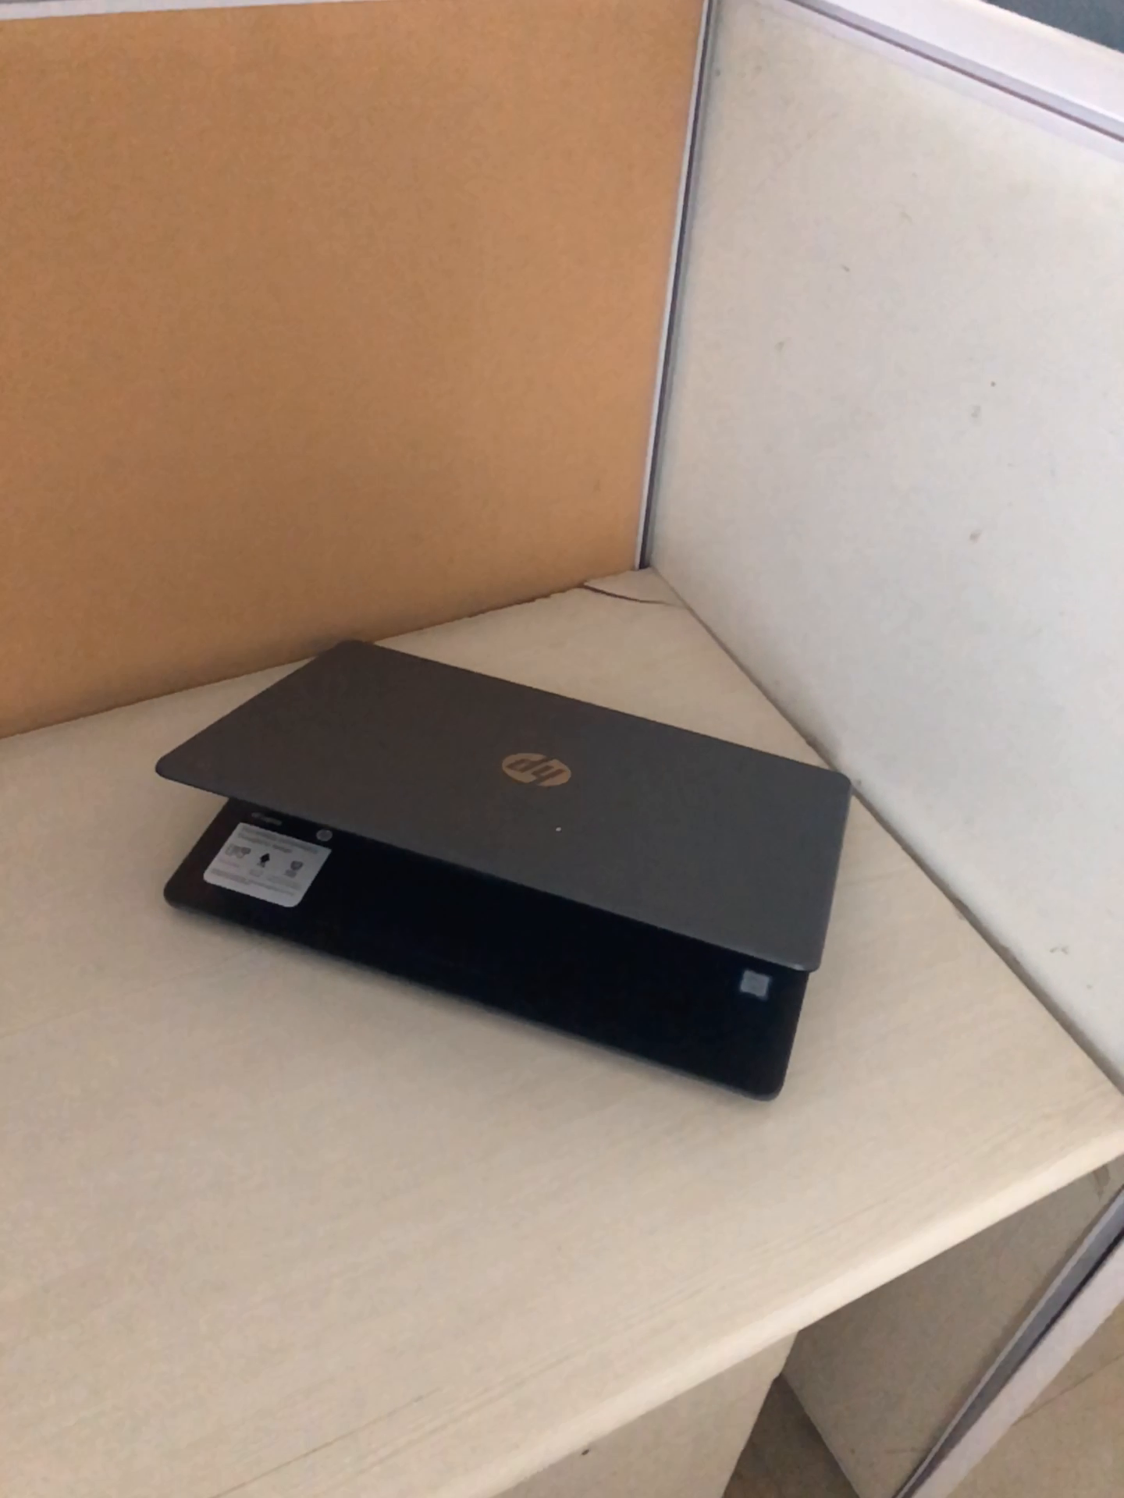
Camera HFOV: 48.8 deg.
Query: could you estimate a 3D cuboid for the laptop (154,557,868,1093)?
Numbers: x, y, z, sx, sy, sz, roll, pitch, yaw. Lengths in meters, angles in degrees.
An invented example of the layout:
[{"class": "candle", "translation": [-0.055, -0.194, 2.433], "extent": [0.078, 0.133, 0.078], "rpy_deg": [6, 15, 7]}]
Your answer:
[{"class": "laptop", "translation": [-0.020, 0.026, 0.750], "extent": [0.362, 0.074, 0.239], "rpy_deg": [16, 48, 12]}]
